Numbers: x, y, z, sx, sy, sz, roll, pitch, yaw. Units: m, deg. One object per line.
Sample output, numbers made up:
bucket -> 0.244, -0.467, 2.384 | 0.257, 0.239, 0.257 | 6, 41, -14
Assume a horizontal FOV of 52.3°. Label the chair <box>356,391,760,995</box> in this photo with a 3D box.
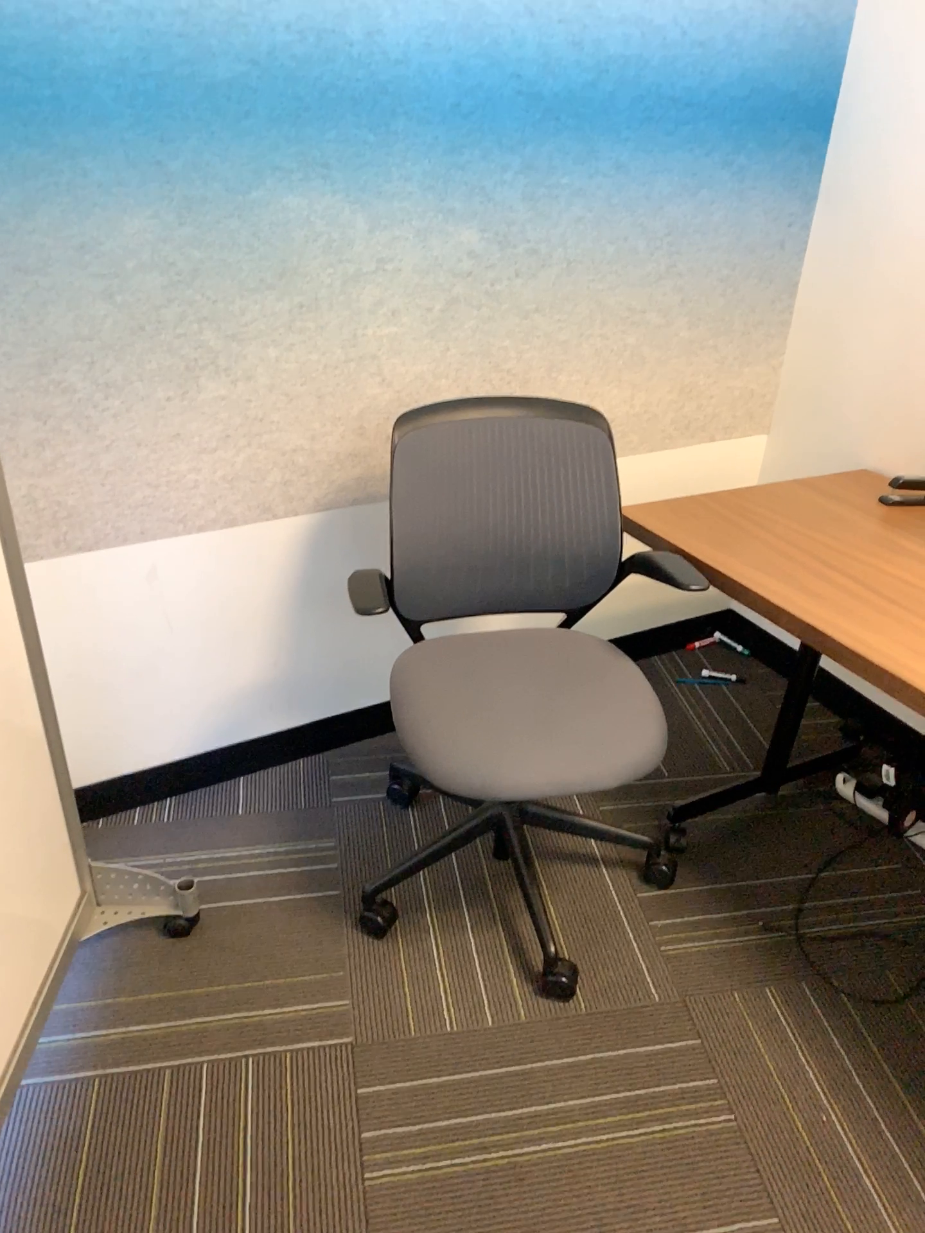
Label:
chair -> 0.093, 0.121, 1.723 | 0.540, 0.935, 0.533 | -2, 27, -8
